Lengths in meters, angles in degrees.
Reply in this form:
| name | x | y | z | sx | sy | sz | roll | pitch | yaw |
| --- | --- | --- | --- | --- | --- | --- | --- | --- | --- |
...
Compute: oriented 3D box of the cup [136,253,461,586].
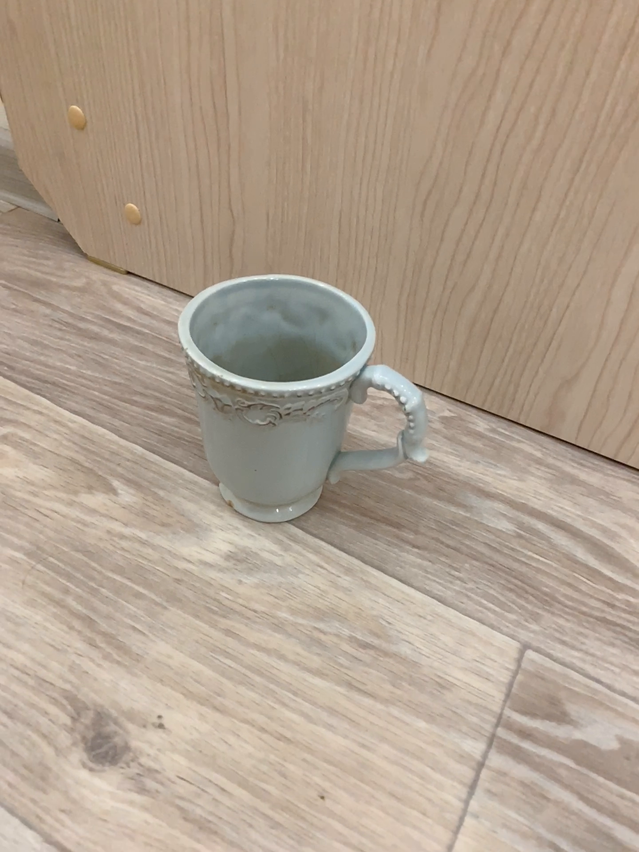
| name | x | y | z | sx | sy | sz | roll | pitch | yaw |
| --- | --- | --- | --- | --- | --- | --- | --- | --- | --- |
| cup | -0.010 | -0.005 | 0.321 | 0.118 | 0.102 | 0.083 | 19 | 44 | 14 |
